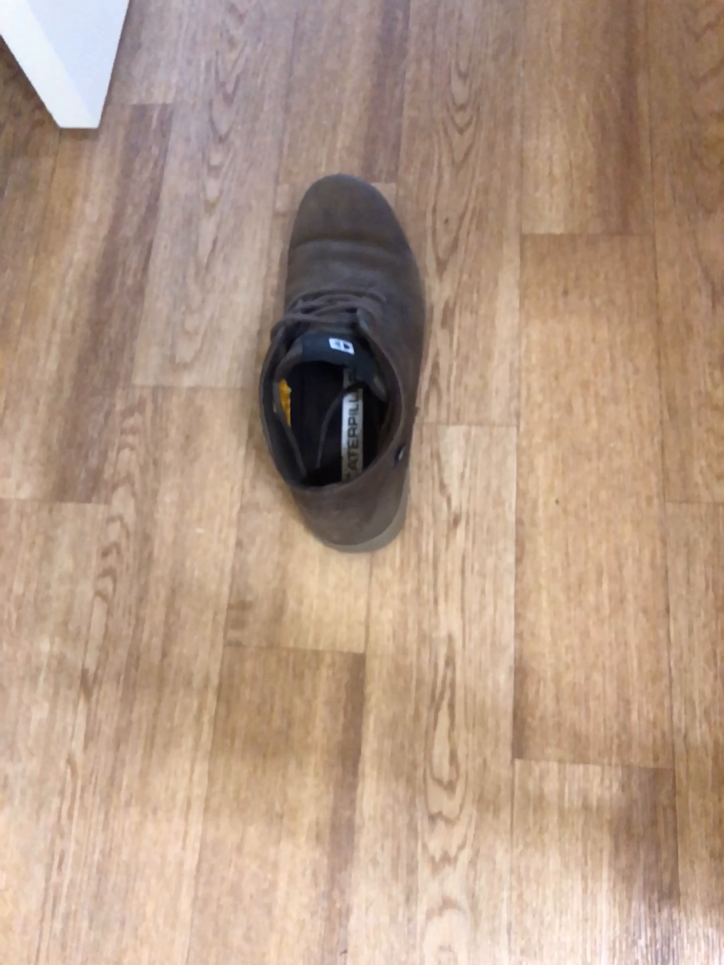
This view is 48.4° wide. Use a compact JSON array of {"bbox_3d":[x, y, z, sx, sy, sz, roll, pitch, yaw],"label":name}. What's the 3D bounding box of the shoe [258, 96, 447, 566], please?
[{"bbox_3d":[-0.003,-0.092,0.517,0.100,0.110,0.270,-3,73,5],"label":"shoe"}]
